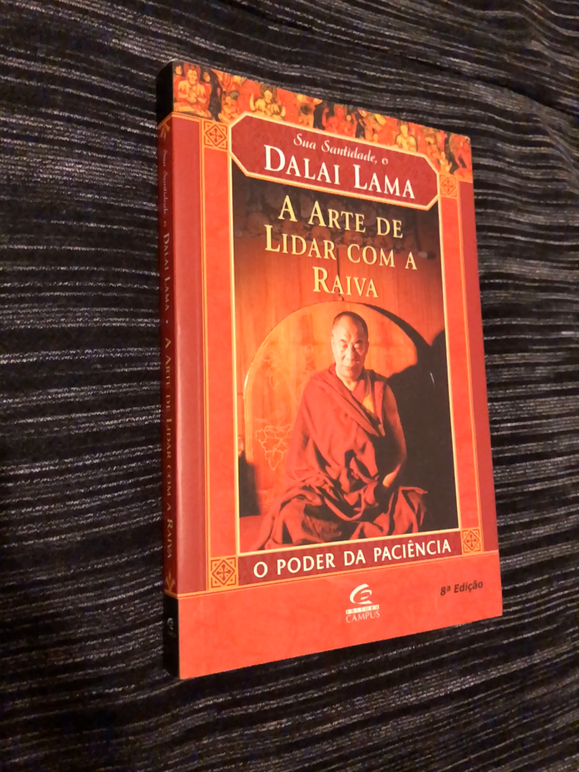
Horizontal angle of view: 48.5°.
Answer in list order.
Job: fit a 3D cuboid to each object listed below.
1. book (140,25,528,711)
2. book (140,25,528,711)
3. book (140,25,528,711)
[{"bbox_3d":[0.021,-0.009,0.254,0.150,0.030,0.220,1,83,-29],"label":"book"},{"bbox_3d":[0.021,-0.009,0.254,0.150,0.030,0.220,1,83,-29],"label":"book"},{"bbox_3d":[0.021,-0.009,0.254,0.150,0.030,0.220,1,83,-29],"label":"book"}]
